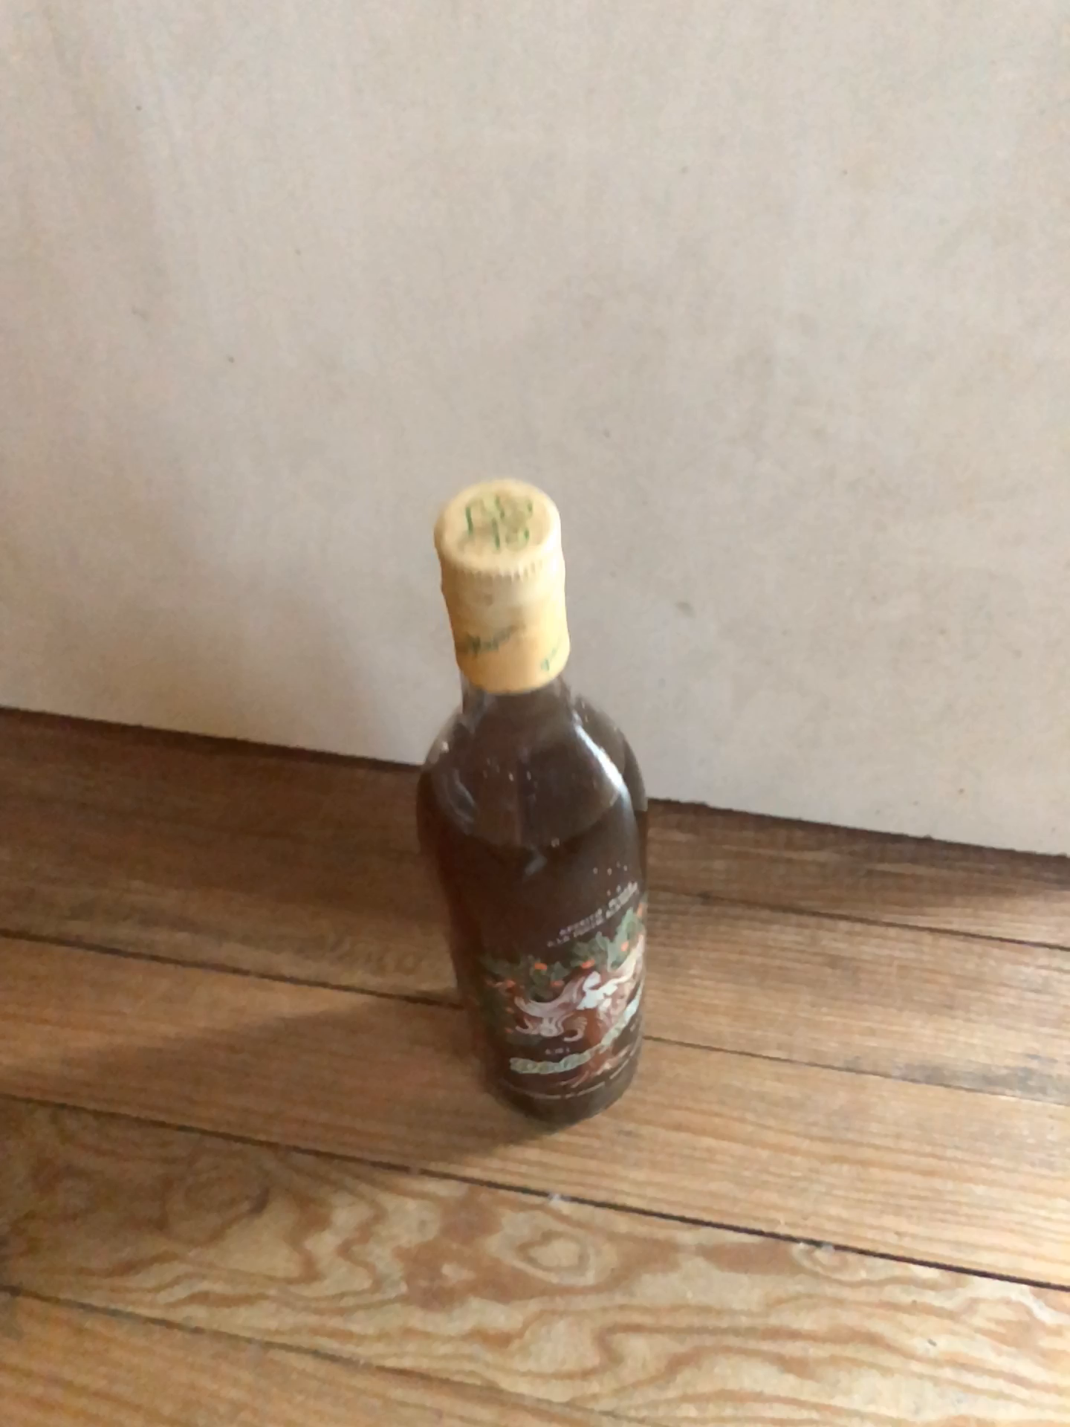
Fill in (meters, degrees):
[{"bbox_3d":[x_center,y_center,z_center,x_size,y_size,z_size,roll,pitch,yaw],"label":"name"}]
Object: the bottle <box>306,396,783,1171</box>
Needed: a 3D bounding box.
[{"bbox_3d":[0.007,0.056,0.391,0.080,0.318,0.070,-28,58,-16],"label":"bottle"}]
